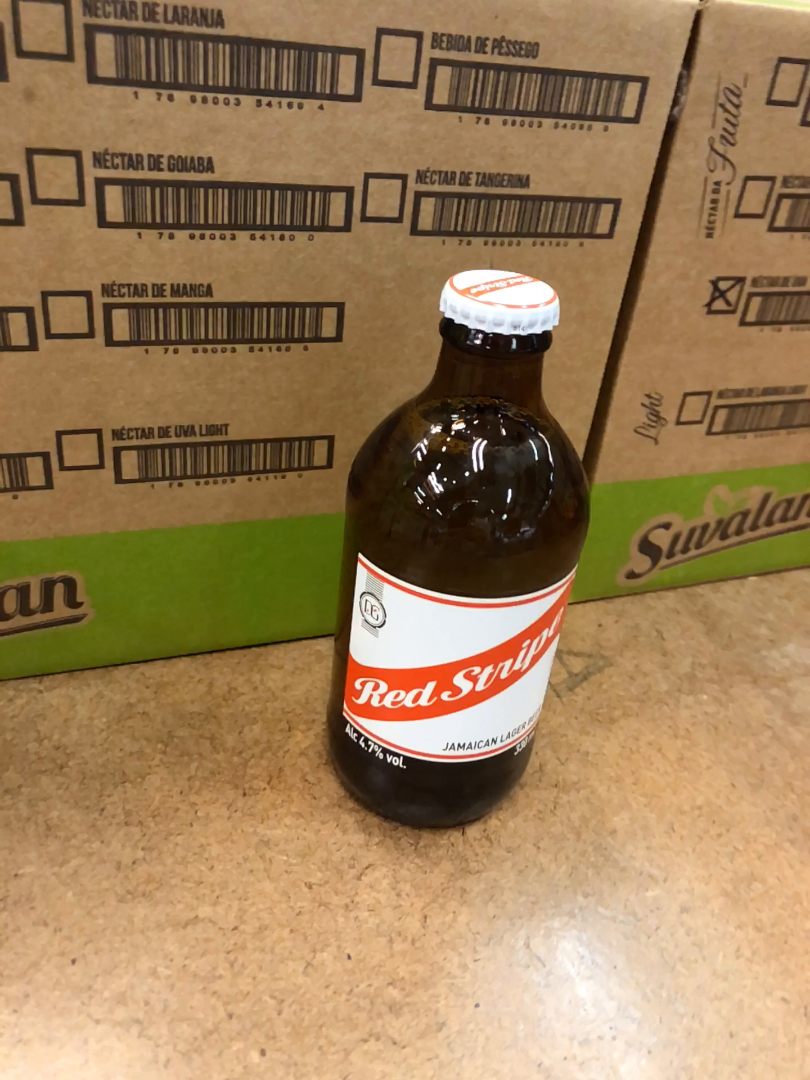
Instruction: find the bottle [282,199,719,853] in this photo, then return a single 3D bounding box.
[{"bbox_3d":[0.012,0.003,0.244,0.080,0.159,0.071,3,33,-6],"label":"bottle"}]
